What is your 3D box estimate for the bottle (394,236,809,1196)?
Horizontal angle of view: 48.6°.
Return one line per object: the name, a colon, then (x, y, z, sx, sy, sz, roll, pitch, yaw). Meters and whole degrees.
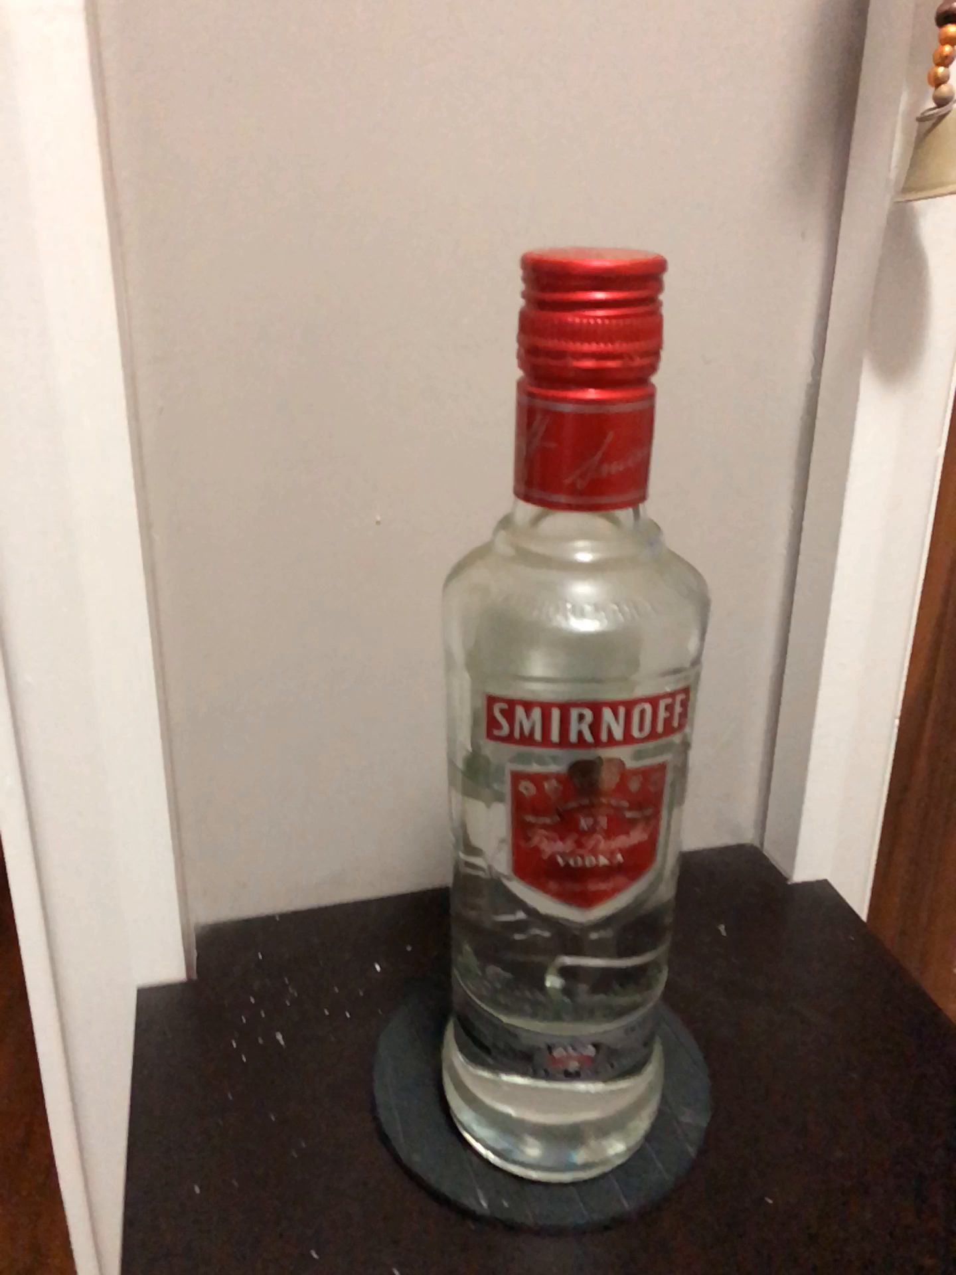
bottle: (0.018, 0.021, 0.257, 0.070, 0.219, 0.070, 1, 22, 0)
